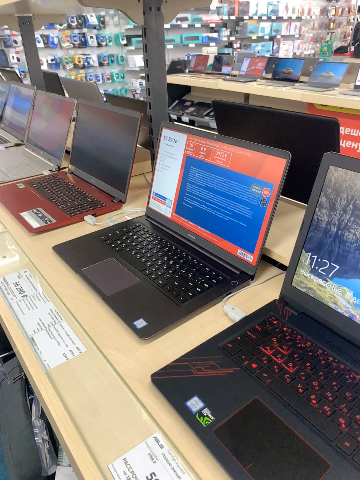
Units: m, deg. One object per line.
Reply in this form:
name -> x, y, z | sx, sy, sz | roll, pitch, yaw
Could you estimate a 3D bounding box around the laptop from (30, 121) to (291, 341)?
laptop -> -0.046, -0.062, 0.682 | 0.302, 0.209, 0.350 | -22, 35, -32
